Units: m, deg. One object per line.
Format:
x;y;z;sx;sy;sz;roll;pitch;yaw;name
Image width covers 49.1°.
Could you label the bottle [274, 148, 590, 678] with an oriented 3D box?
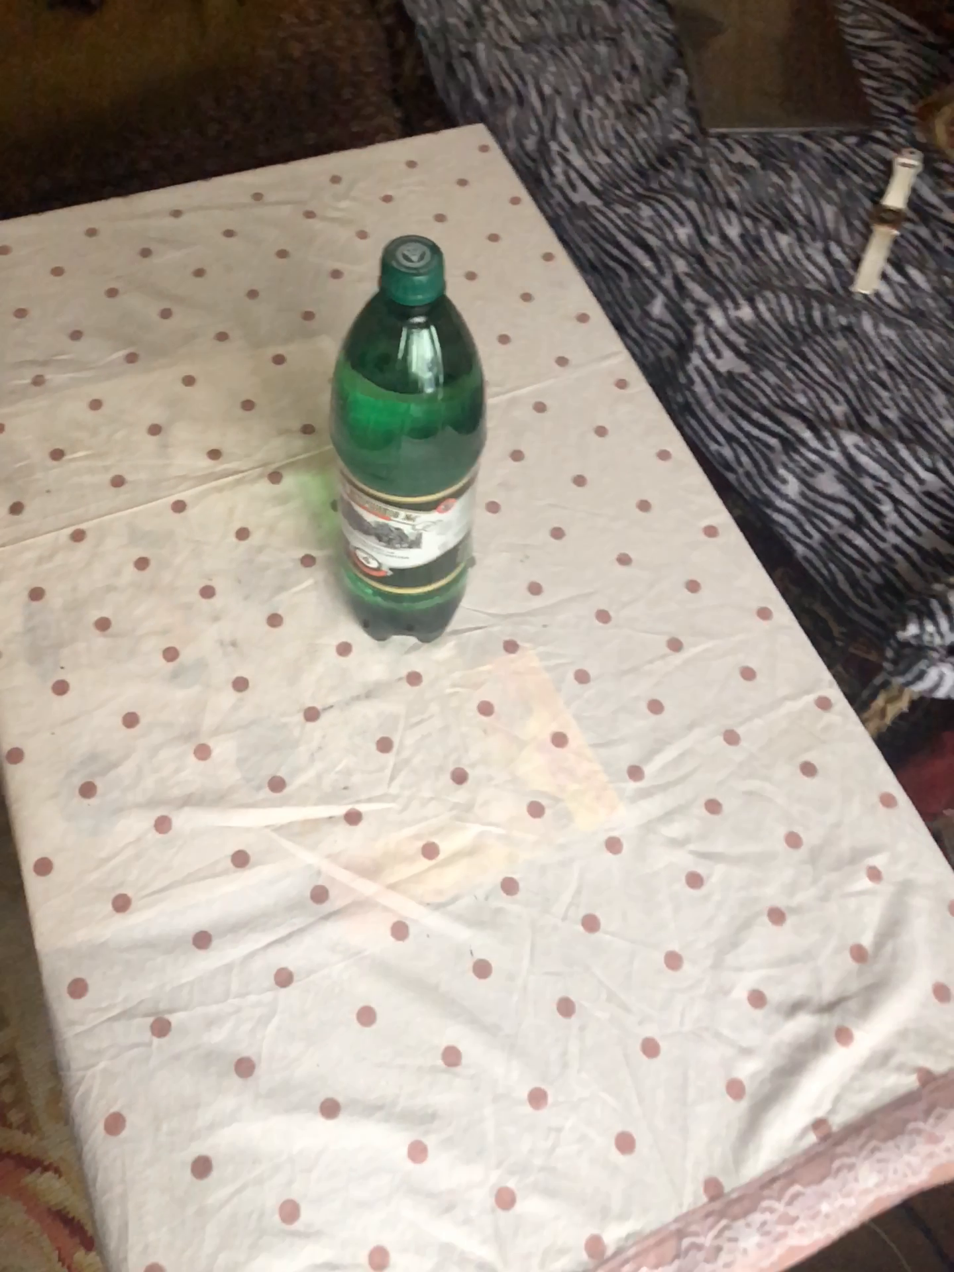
-0.030;-0.101;0.581;0.100;0.279;0.100;2;61;-5;bottle
